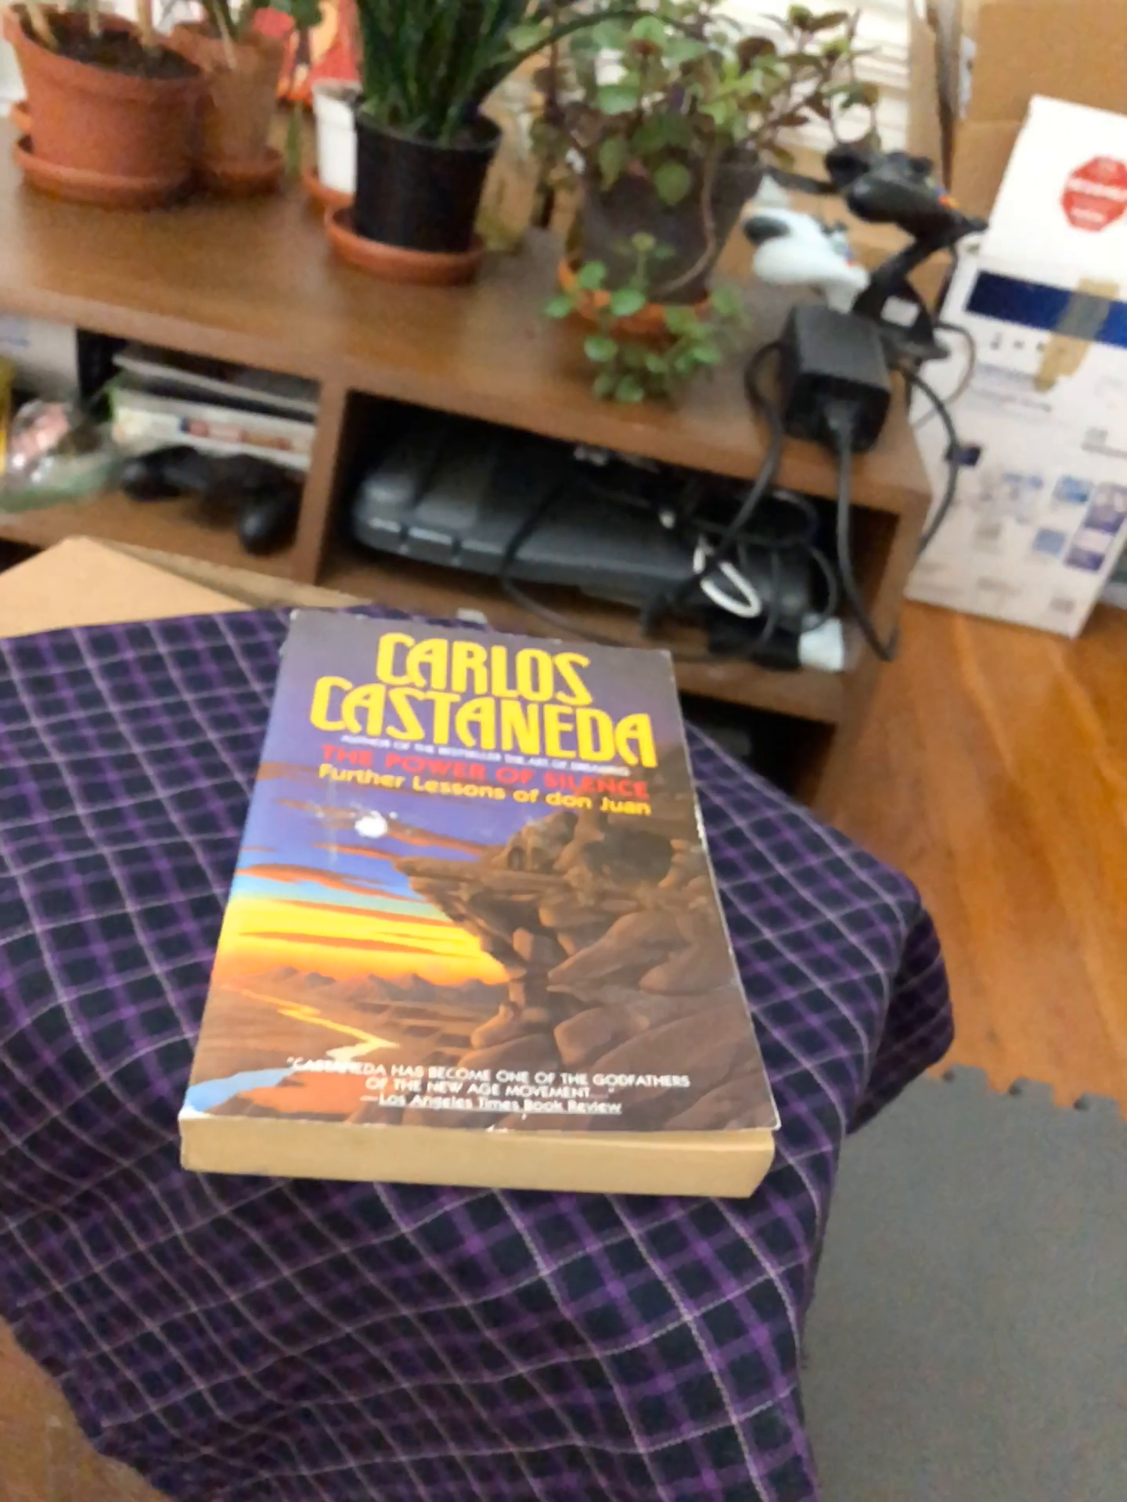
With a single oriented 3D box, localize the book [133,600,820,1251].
[{"bbox_3d":[-0.022,0.032,0.366,0.150,0.020,0.221,7,38,-8],"label":"book"}]
